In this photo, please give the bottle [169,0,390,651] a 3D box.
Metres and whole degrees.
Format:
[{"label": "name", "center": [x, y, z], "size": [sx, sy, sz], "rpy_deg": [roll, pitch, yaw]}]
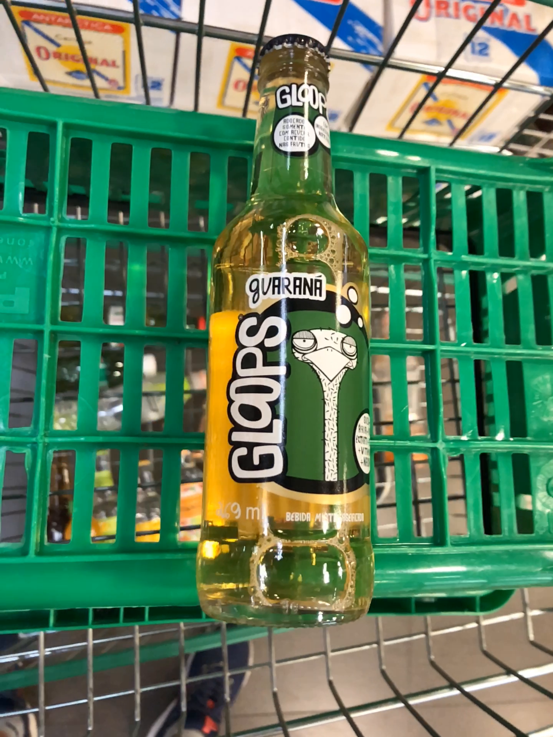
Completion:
[{"label": "bottle", "center": [0.000, -0.028, 0.213], "size": [0.060, 0.050, 0.220], "rpy_deg": [4, 80, -12]}]
